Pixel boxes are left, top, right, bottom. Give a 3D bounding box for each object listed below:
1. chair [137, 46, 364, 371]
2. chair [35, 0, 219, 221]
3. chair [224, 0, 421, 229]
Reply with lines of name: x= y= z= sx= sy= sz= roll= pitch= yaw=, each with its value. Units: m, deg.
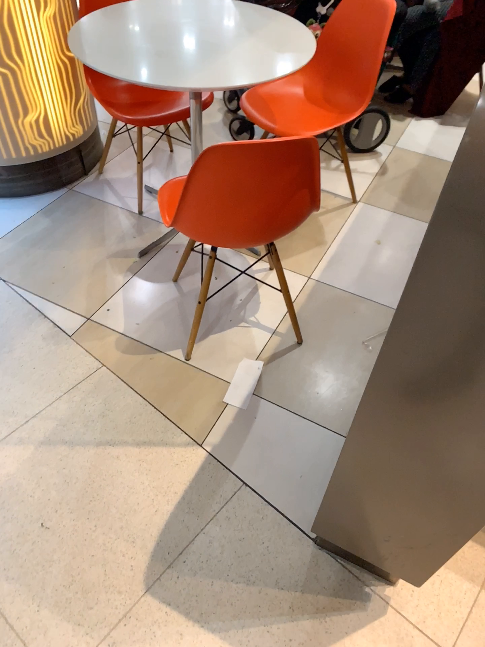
chair: x=-0.028 y=-0.323 z=1.470 sx=0.448 sy=0.743 sz=0.525 roll=-7 pitch=48 yaw=-10
chair: x=-0.433 y=-0.938 z=2.031 sx=0.449 sy=0.762 sz=0.513 roll=-29 pitch=56 yaw=-27
chair: x=0.269 y=-0.890 z=2.019 sx=0.522 sy=0.743 sz=0.450 roll=-26 pitch=54 yaw=-25
